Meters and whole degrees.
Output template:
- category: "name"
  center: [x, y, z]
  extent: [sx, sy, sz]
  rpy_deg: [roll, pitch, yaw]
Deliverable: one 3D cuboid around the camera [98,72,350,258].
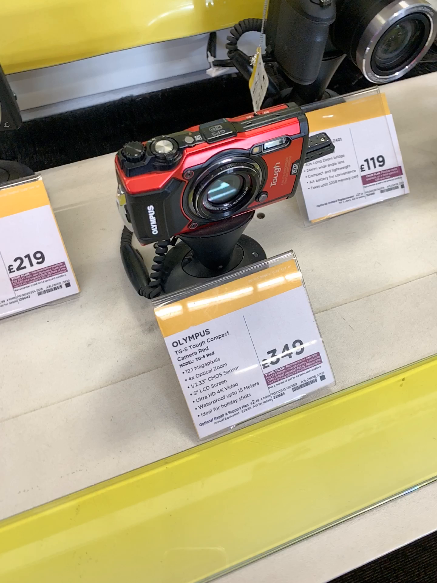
- category: "camera"
  center: [0.003, -0.070, 0.251]
  extent: [0.120, 0.060, 0.040]
  rpy_deg: [-20, 62, -12]
